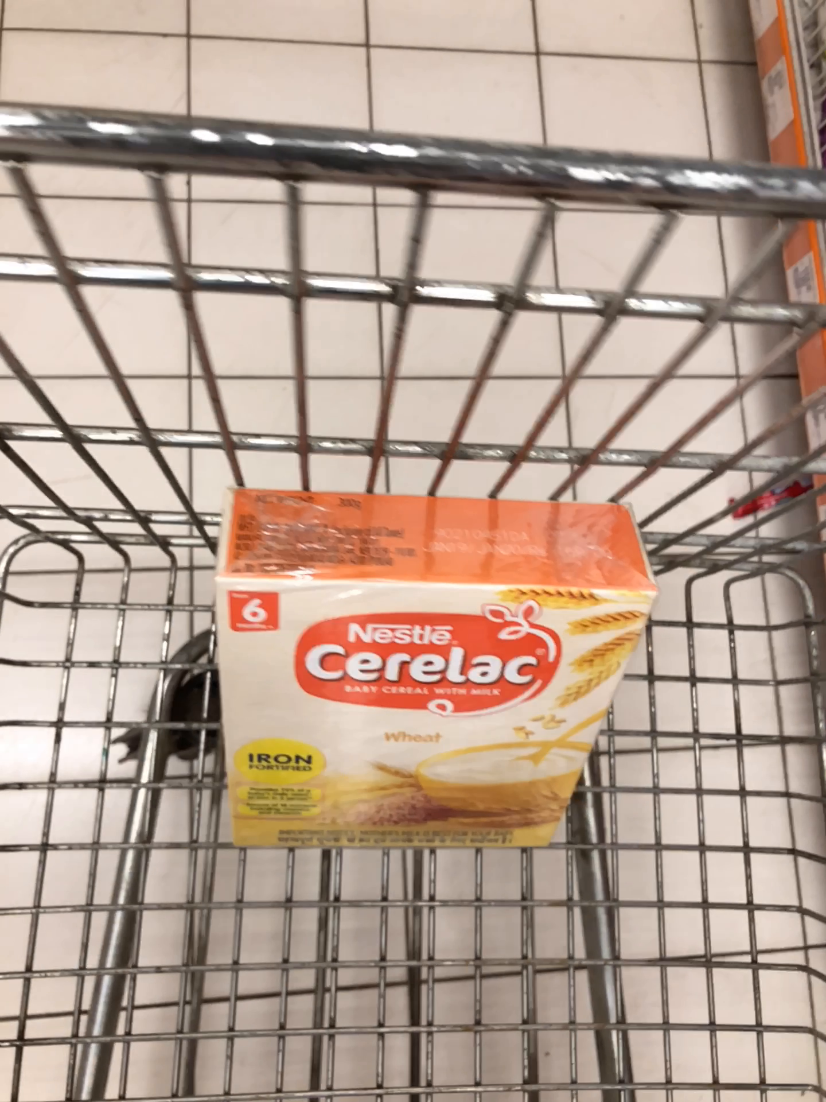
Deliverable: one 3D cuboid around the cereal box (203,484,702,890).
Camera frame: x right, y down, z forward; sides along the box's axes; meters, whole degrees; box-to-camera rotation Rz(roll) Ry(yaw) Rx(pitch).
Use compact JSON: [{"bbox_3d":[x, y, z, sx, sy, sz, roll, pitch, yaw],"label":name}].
[{"bbox_3d":[0.003,0.063,0.352,0.150,0.180,0.050,2,43,-7],"label":"cereal box"}]
